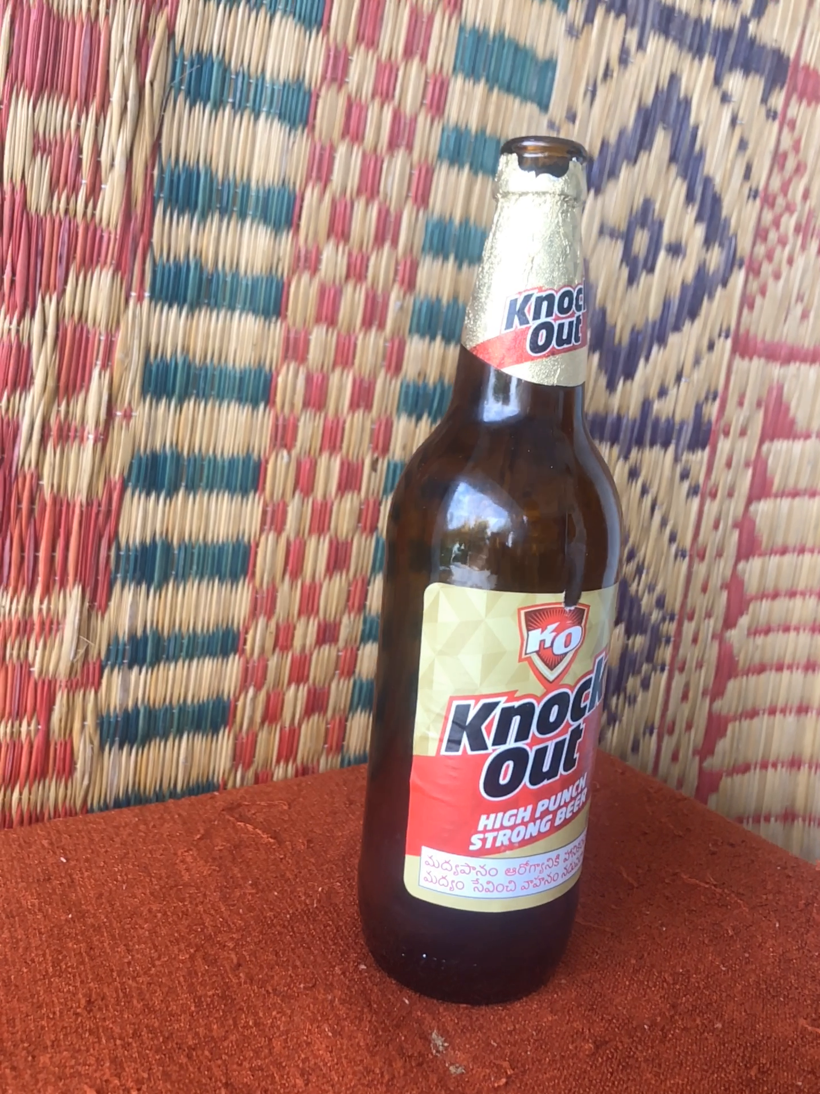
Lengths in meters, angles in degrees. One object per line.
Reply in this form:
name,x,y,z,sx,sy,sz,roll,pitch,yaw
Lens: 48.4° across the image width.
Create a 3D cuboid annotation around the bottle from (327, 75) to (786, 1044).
bottle,0.035,0.008,0.275,0.070,0.249,0.070,7,11,-1
